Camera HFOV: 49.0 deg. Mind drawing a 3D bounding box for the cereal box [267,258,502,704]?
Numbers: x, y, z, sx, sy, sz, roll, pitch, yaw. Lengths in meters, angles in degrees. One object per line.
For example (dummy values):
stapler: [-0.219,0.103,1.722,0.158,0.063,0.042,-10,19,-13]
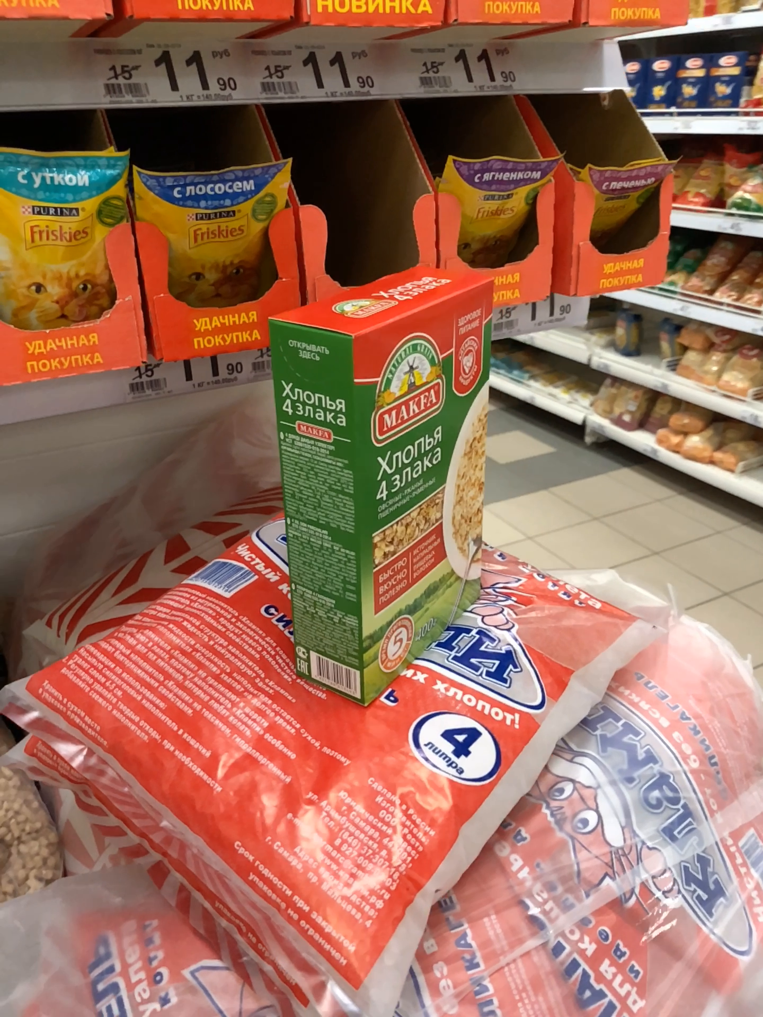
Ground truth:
cereal box: [0.009,-0.020,0.474,0.050,0.209,0.141,16,32,30]
